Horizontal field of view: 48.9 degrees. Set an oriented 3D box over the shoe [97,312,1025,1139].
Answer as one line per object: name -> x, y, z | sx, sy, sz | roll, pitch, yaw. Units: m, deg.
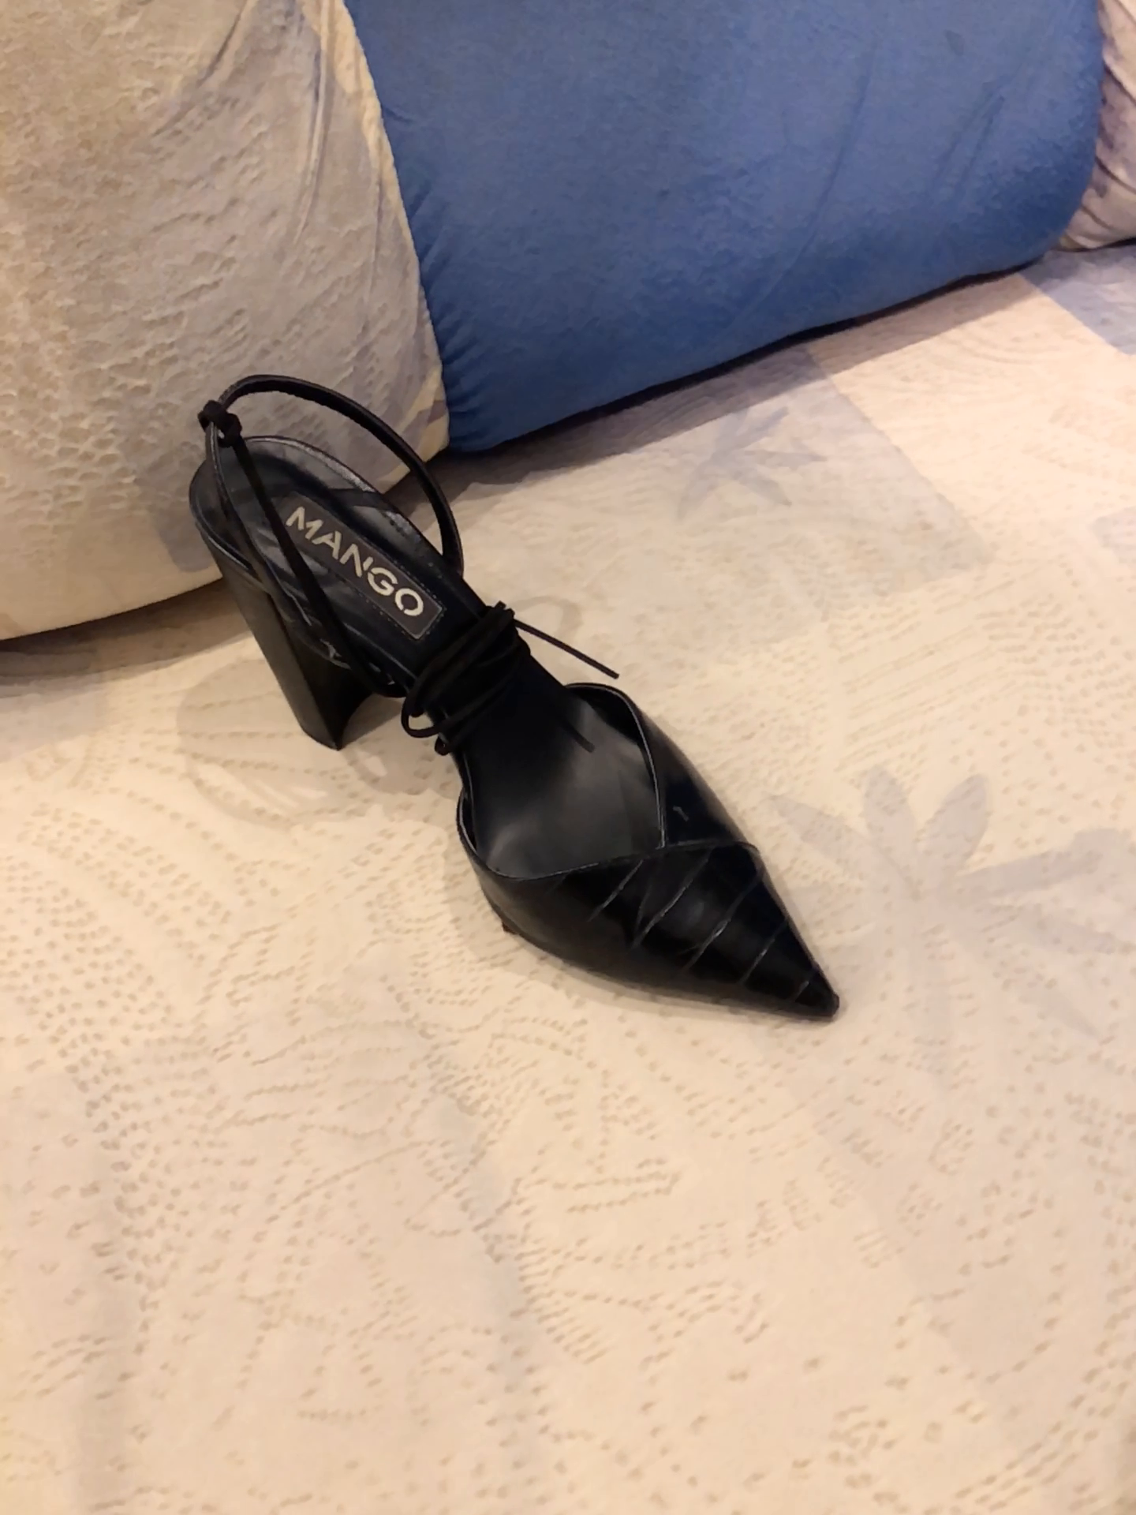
shoe -> -0.011, -0.017, 0.364 | 0.241, 0.119, 0.084 | 33, 61, 26
